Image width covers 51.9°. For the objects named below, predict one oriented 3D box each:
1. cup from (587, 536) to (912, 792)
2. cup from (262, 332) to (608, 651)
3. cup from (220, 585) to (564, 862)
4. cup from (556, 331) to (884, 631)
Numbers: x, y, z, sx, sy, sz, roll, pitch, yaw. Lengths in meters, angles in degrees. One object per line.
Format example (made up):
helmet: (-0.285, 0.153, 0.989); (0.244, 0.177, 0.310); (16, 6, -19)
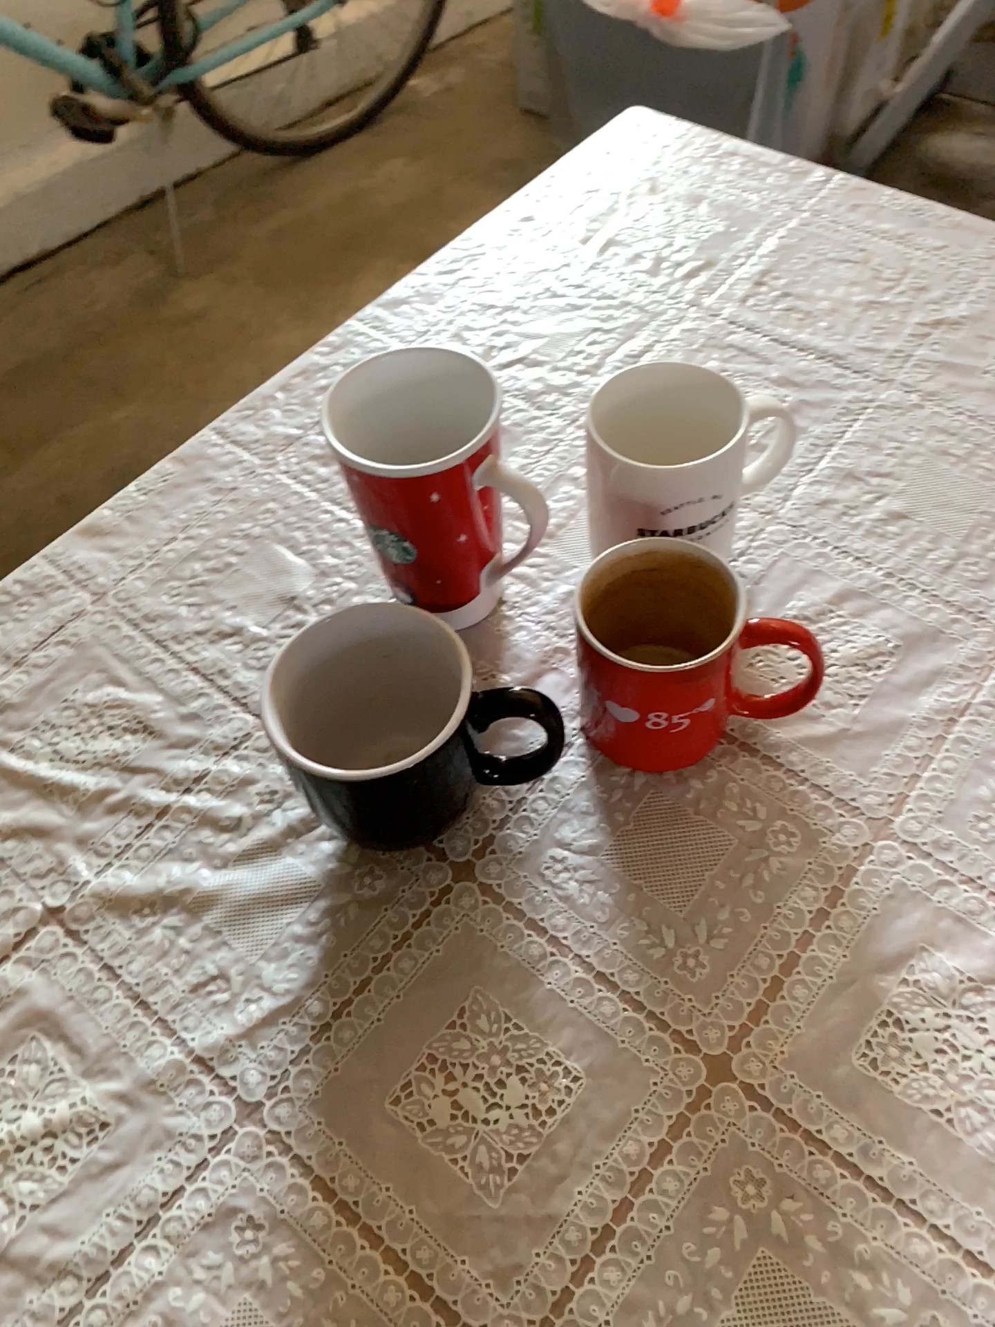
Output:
cup: (0.108, 0.003, 0.479); (0.130, 0.090, 0.080); (-1, 54, 5)
cup: (-0.026, -0.092, 0.535); (0.140, 0.090, 0.100); (19, 59, 19)
cup: (-0.045, 0.032, 0.514); (0.150, 0.090, 0.100); (-3, 54, 4)
cup: (0.116, -0.102, 0.570); (0.140, 0.090, 0.100); (-16, 54, -5)
